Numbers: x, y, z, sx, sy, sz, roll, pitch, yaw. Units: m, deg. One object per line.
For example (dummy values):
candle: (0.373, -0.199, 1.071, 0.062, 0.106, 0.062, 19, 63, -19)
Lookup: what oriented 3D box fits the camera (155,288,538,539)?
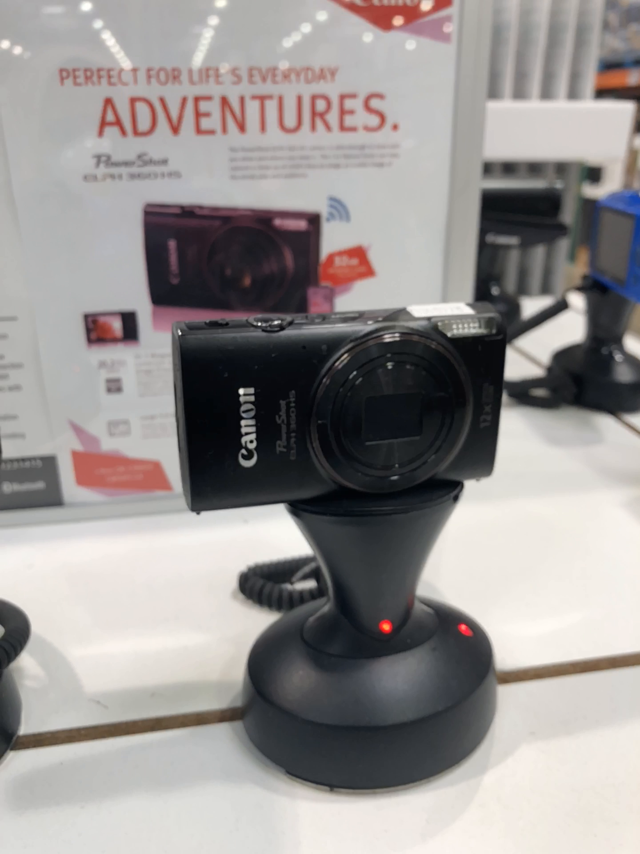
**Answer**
camera: (0.007, -0.007, 0.232, 0.110, 0.060, 0.040, -6, 23, -12)
